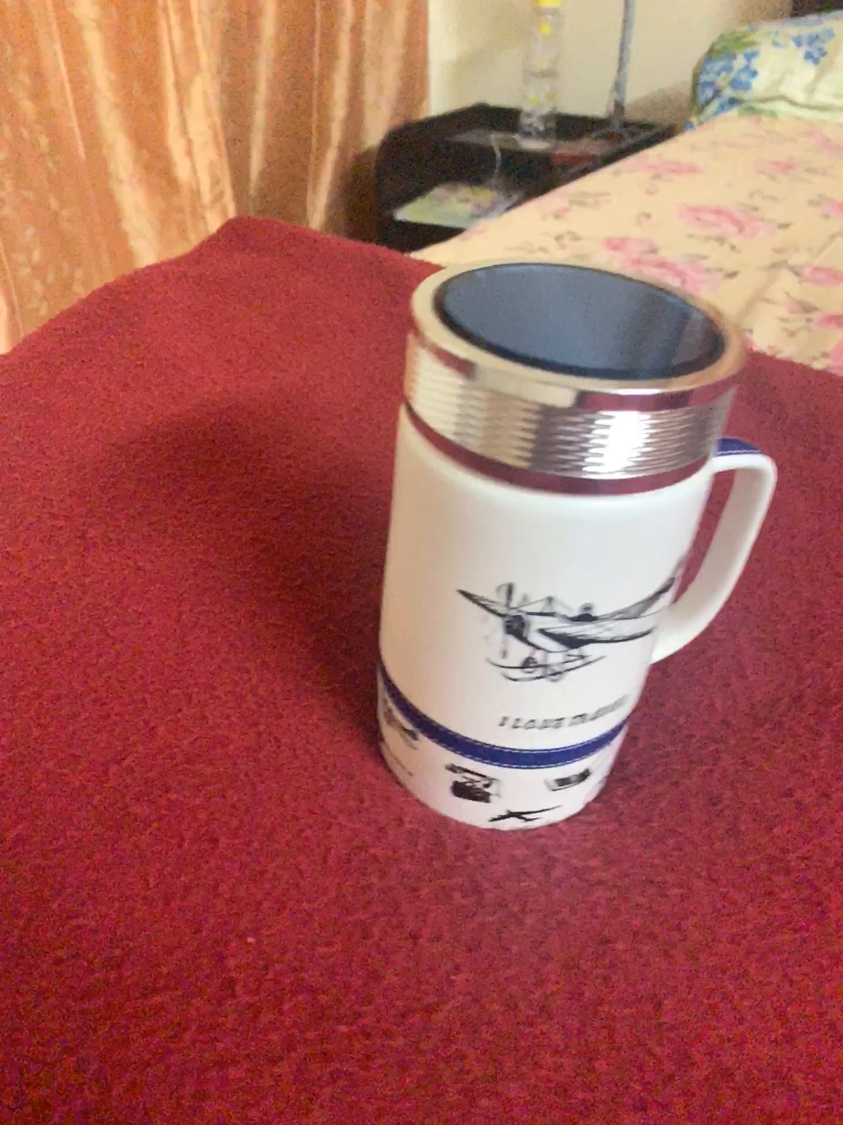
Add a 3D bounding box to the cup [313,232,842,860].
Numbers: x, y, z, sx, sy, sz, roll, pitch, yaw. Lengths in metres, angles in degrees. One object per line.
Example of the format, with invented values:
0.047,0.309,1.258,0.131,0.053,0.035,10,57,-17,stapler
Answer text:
0.039,-0.008,0.252,0.120,0.139,0.091,-9,40,-18,cup
